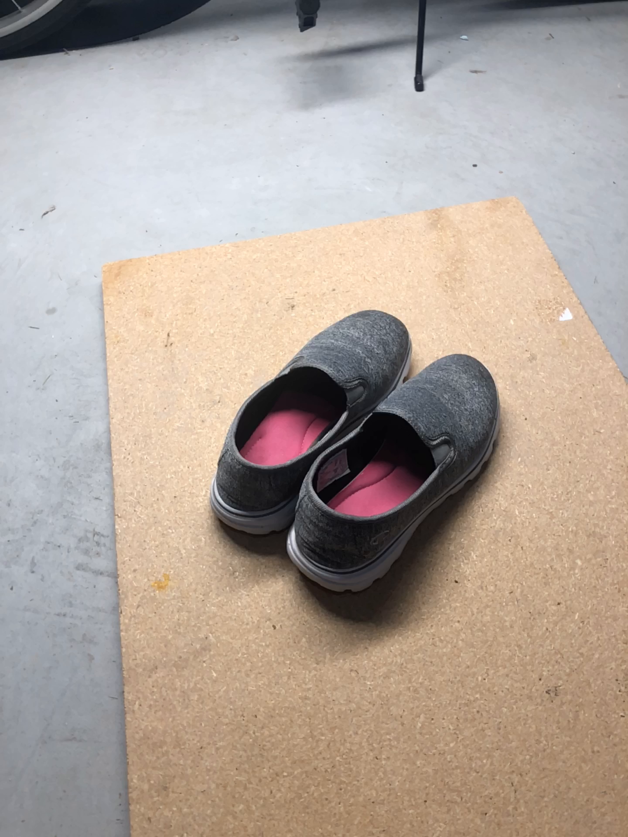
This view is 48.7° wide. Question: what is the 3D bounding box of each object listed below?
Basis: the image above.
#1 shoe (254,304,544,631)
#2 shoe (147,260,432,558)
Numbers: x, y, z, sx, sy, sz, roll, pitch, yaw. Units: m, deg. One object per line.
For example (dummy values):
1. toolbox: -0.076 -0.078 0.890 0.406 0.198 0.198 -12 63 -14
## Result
1. shoe: 0.073 0.028 0.554 0.100 0.070 0.250 31 61 21
2. shoe: -0.011 -0.018 0.595 0.100 0.073 0.250 31 61 21
